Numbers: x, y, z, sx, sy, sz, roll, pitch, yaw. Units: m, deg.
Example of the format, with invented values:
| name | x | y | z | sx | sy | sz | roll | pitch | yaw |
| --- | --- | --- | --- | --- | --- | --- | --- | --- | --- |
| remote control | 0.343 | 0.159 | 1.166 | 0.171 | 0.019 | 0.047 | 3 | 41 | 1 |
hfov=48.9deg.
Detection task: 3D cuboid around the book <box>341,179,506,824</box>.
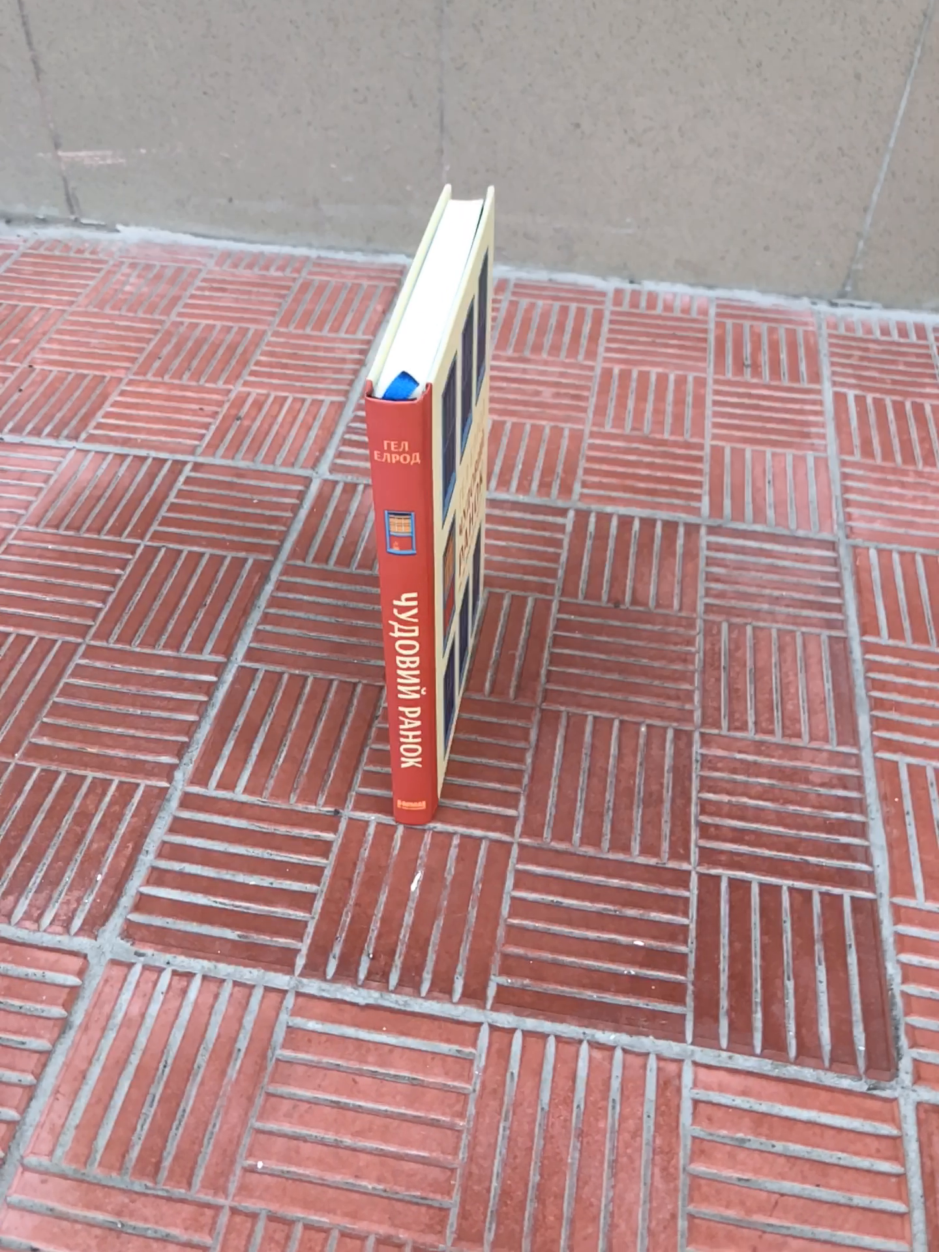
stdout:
| name | x | y | z | sx | sy | sz | roll | pitch | yaw |
| --- | --- | --- | --- | --- | --- | --- | --- | --- | --- |
| book | -0.011 | -0.042 | 0.395 | 0.025 | 0.196 | 0.145 | 7 | 46 | 6 |
